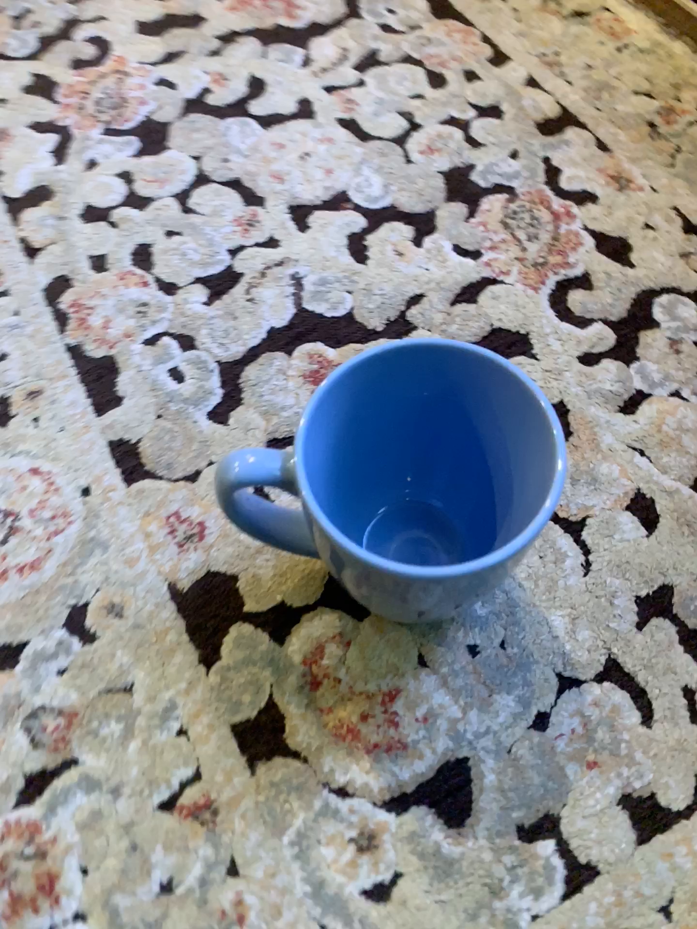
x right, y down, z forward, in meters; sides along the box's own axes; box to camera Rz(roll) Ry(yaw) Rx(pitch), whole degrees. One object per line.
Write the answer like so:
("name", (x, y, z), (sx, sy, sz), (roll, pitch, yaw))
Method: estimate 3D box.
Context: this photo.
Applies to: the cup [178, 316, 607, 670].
("cup", (0.010, 0.014, 0.261), (0.120, 0.089, 0.091), (-4, 61, -2))
